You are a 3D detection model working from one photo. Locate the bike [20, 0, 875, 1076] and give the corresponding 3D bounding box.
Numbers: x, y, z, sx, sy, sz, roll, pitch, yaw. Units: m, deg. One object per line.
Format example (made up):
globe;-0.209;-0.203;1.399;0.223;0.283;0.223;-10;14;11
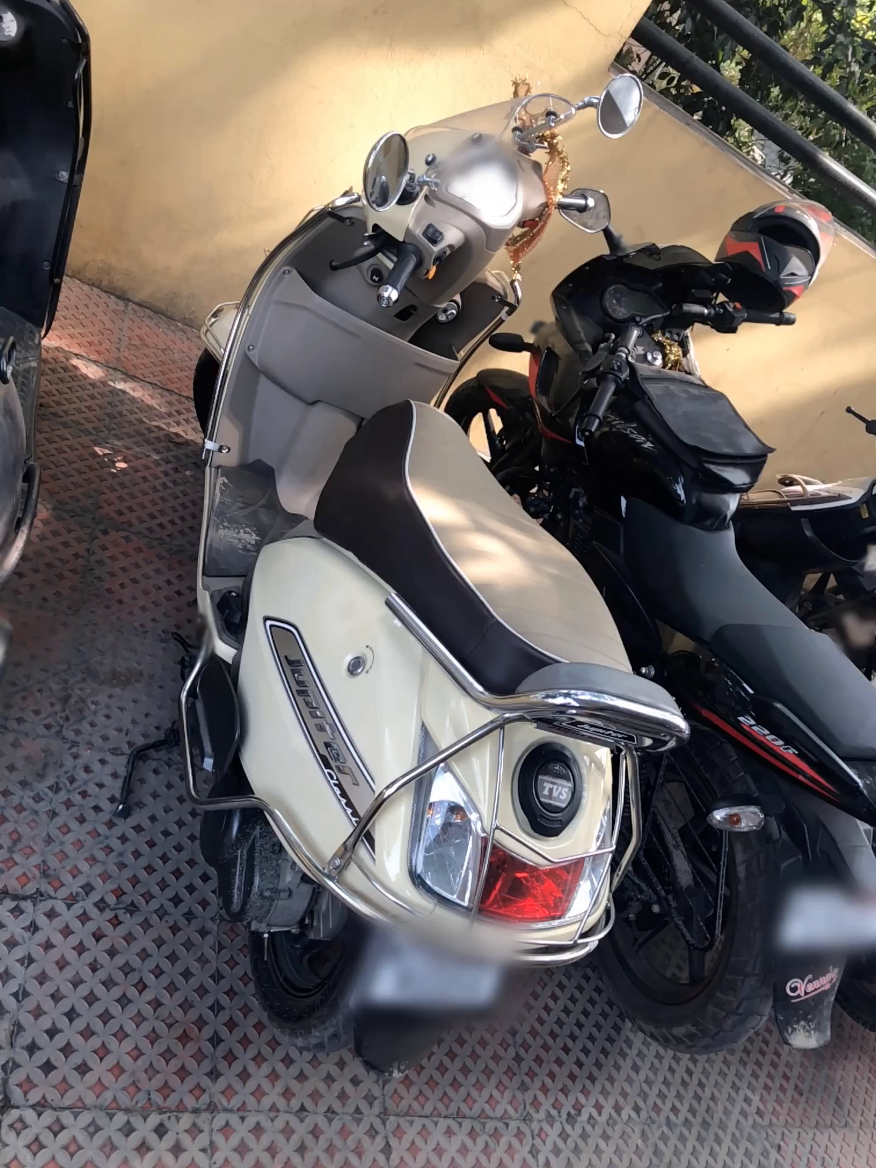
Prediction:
bike;-0.230;-0.201;1.649;0.645;0.999;1.631;13;41;-34
